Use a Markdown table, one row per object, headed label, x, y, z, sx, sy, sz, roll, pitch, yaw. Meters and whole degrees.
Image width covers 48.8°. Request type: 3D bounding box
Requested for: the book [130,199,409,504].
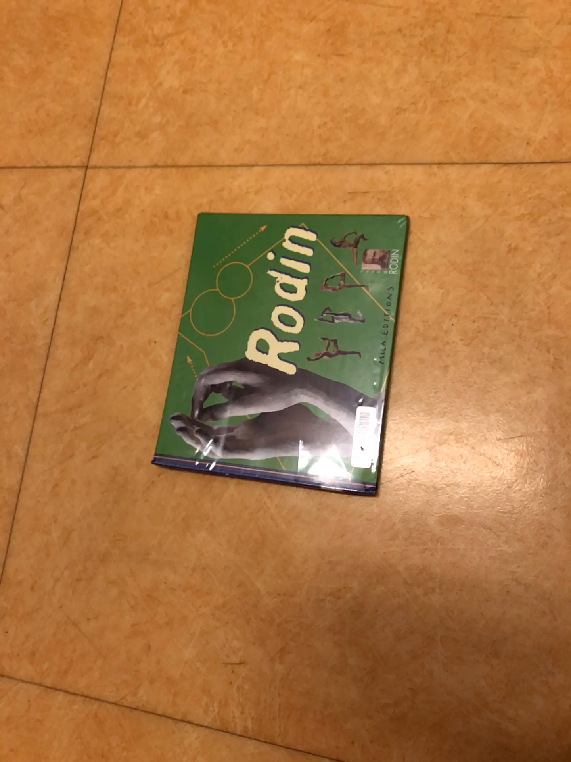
| label | x | y | z | sx | sy | sz | roll | pitch | yaw |
| --- | --- | --- | --- | --- | --- | --- | --- | --- | --- |
| book | -0.012 | -0.034 | 0.534 | 0.200 | 0.030 | 0.243 | 6 | 78 | 17 |
